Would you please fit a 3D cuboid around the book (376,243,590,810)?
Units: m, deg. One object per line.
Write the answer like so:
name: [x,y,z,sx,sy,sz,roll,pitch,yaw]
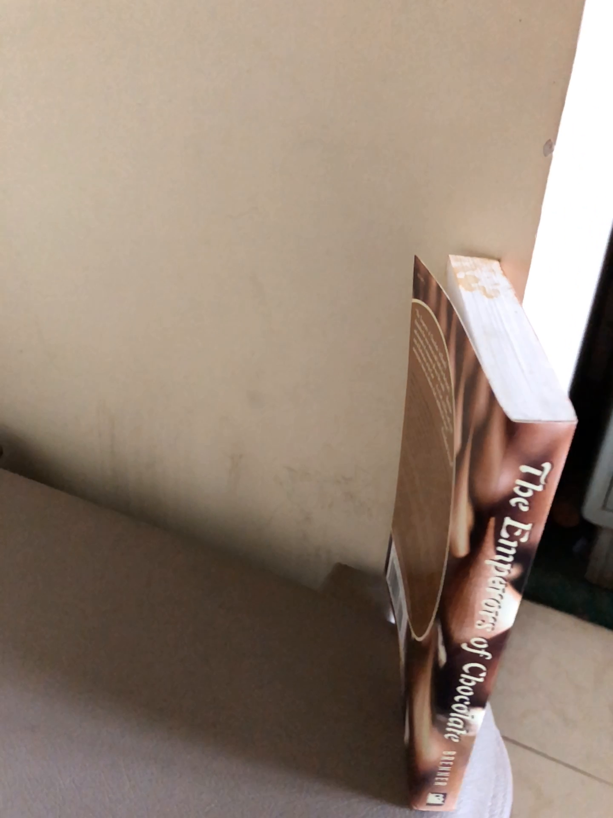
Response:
book: [0.062,0.047,0.316,0.040,0.199,0.161,2,31,2]
